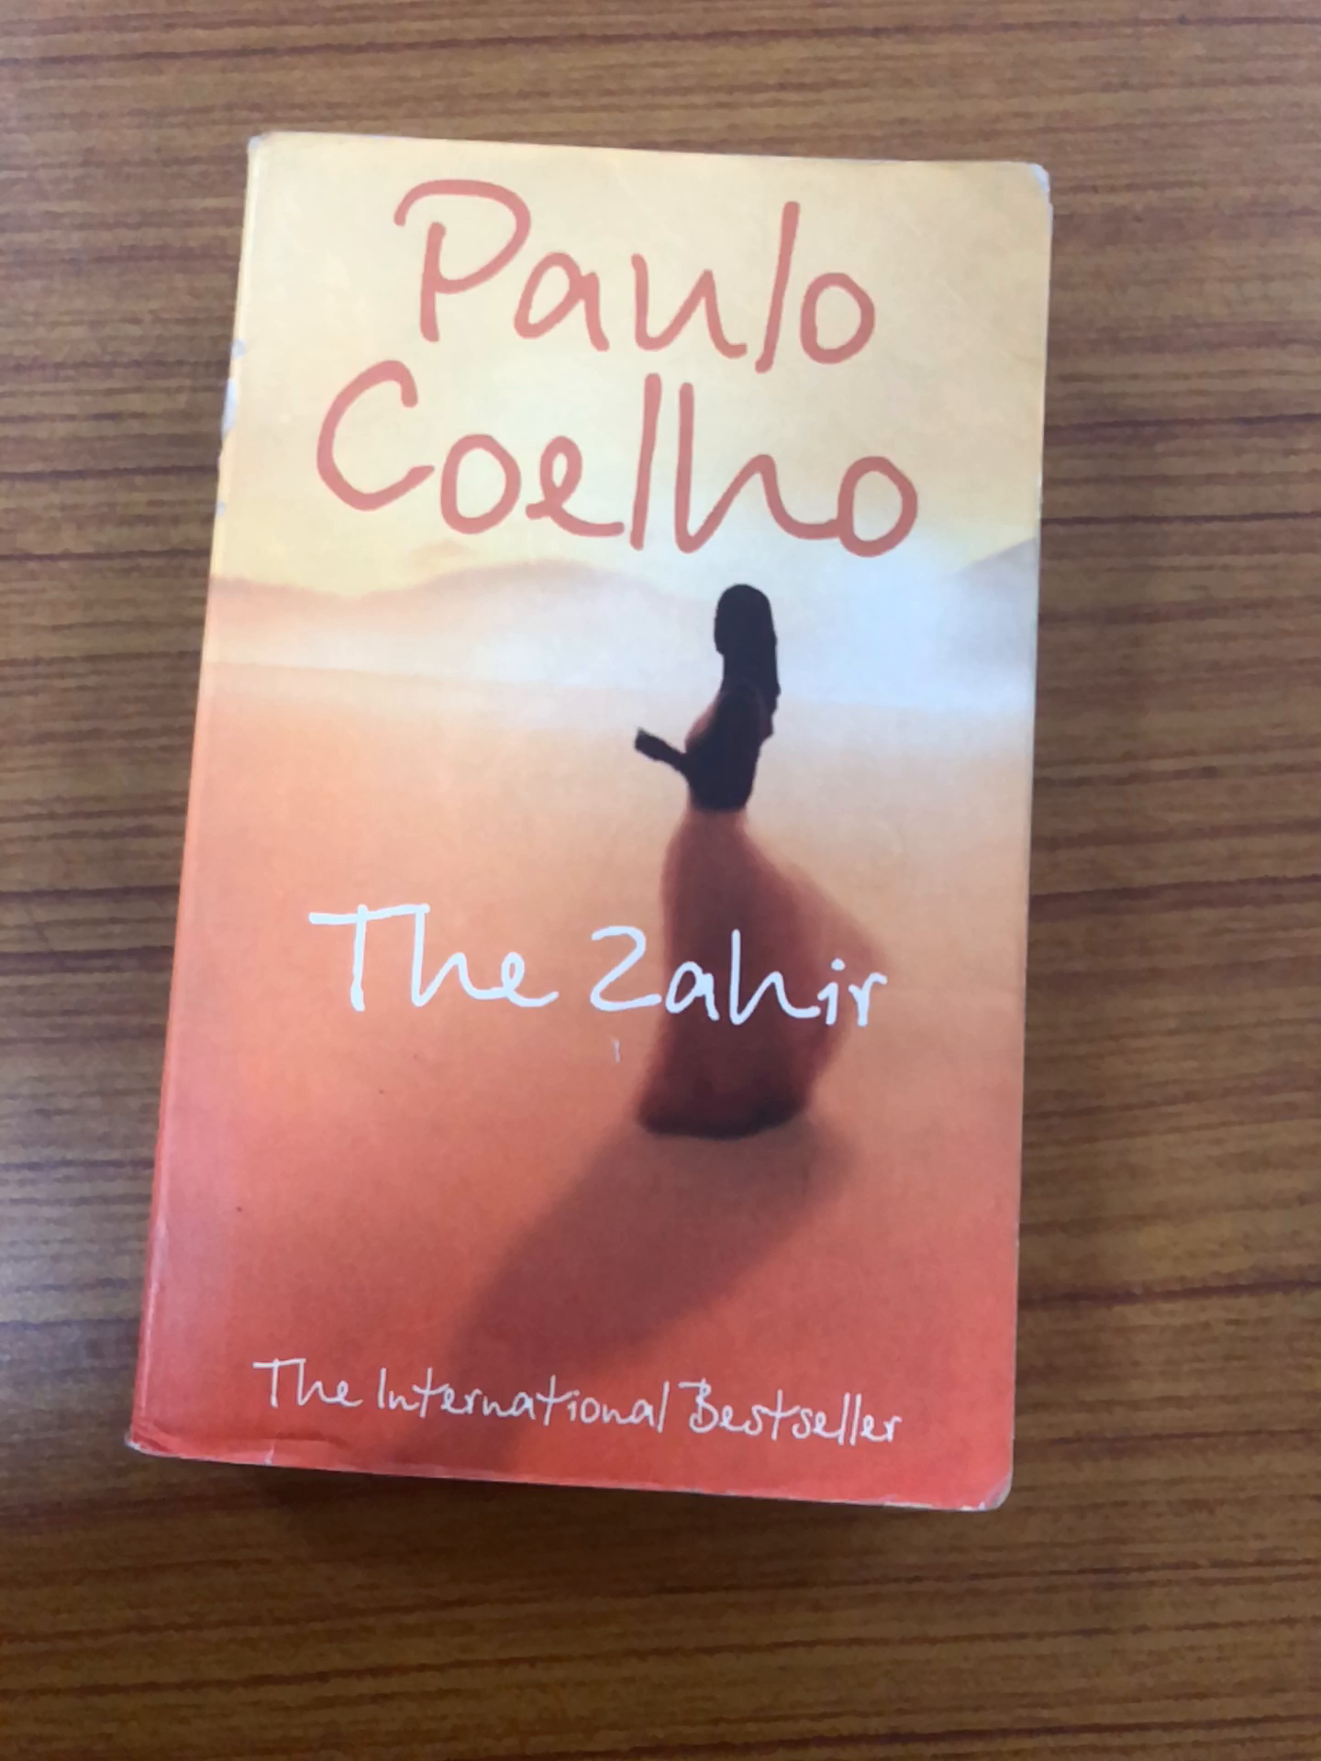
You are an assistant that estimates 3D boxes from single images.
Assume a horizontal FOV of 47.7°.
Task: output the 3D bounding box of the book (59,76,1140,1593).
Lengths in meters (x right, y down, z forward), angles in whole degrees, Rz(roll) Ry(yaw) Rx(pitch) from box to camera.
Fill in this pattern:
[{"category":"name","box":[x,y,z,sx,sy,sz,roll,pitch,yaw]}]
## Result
[{"category":"book","box":[-0.003,-0.008,0.202,0.120,0.040,0.180,4,83,-1]}]
